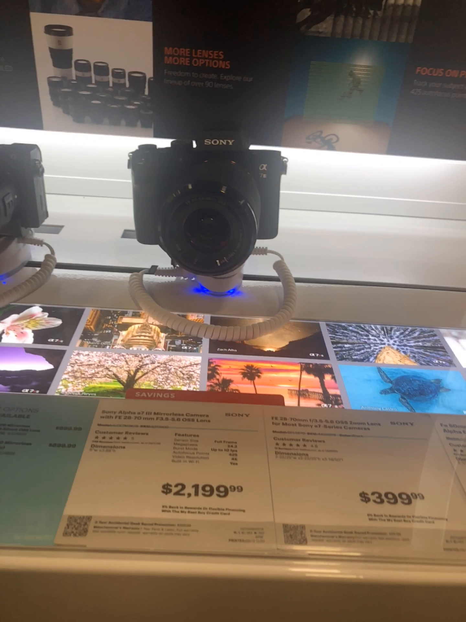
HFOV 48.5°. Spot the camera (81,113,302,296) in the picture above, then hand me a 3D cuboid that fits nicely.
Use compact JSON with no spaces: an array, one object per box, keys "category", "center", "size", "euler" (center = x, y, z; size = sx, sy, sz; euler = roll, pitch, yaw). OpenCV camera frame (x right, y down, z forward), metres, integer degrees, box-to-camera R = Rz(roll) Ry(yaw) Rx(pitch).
[{"category":"camera","center":[-0.029,-0.090,0.410],"size":[0.140,0.090,0.141],"euler":[4,31,-2]}]
